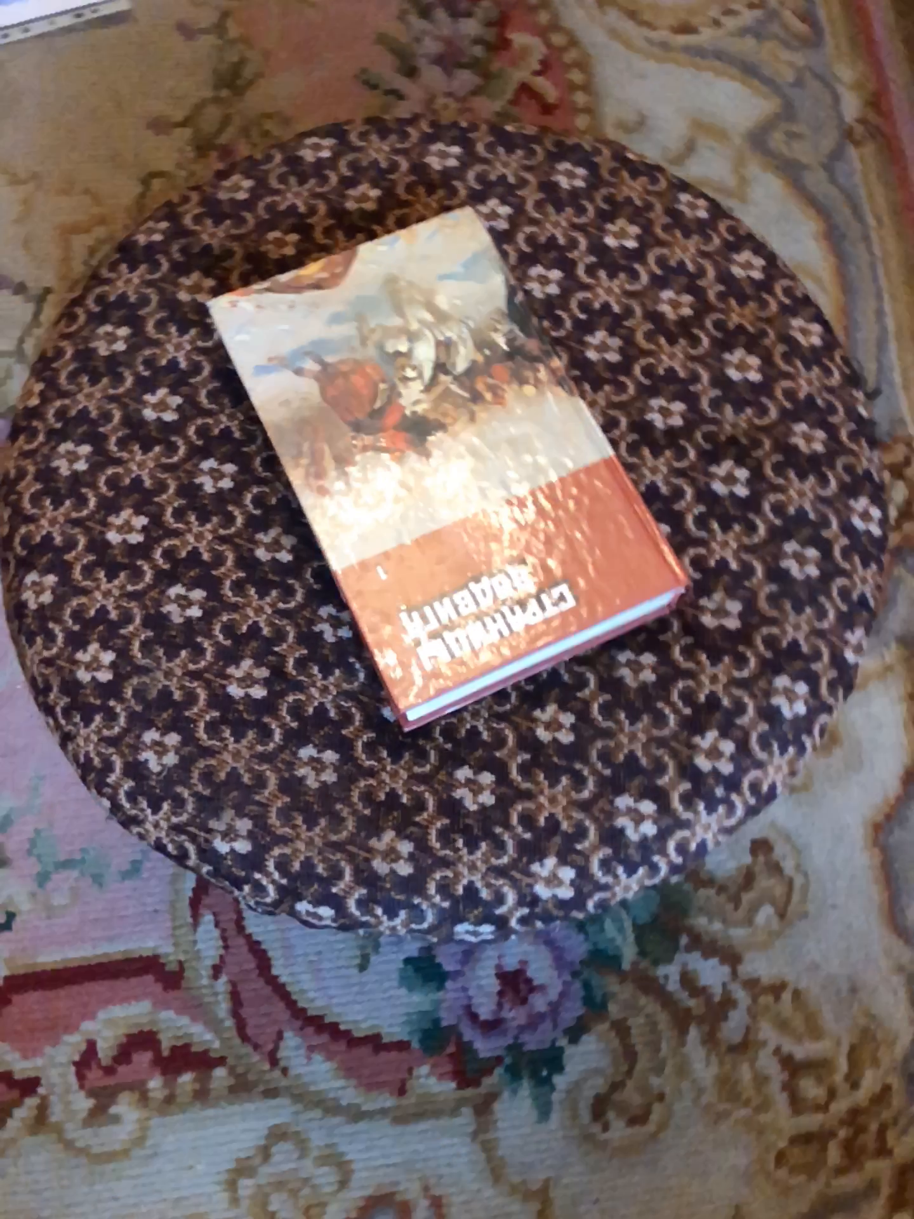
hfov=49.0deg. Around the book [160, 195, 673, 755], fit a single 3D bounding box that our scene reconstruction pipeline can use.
[{"bbox_3d":[-0.021,-0.063,0.425,0.134,0.040,0.206,-24,73,-10],"label":"book"}]
